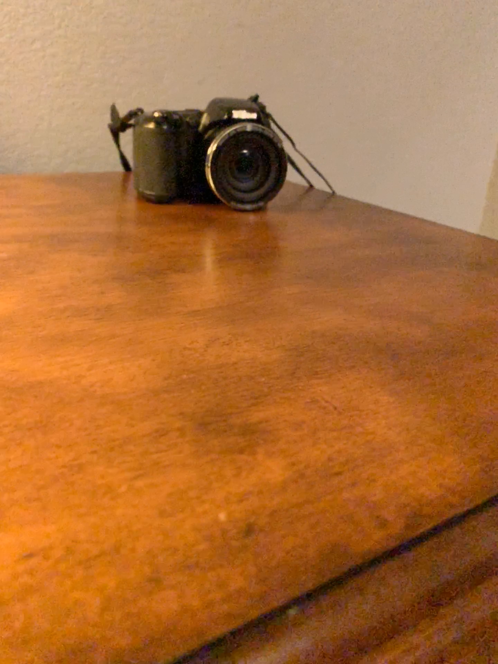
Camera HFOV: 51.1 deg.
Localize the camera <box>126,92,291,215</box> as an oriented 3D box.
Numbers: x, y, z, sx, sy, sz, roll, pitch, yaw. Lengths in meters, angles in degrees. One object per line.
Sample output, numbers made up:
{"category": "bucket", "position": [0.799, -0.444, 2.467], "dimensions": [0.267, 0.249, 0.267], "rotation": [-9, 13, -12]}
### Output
{"category": "camera", "position": [-0.040, -0.151, 0.432], "dimensions": [0.110, 0.081, 0.123], "rotation": [-4, 24, -15]}
